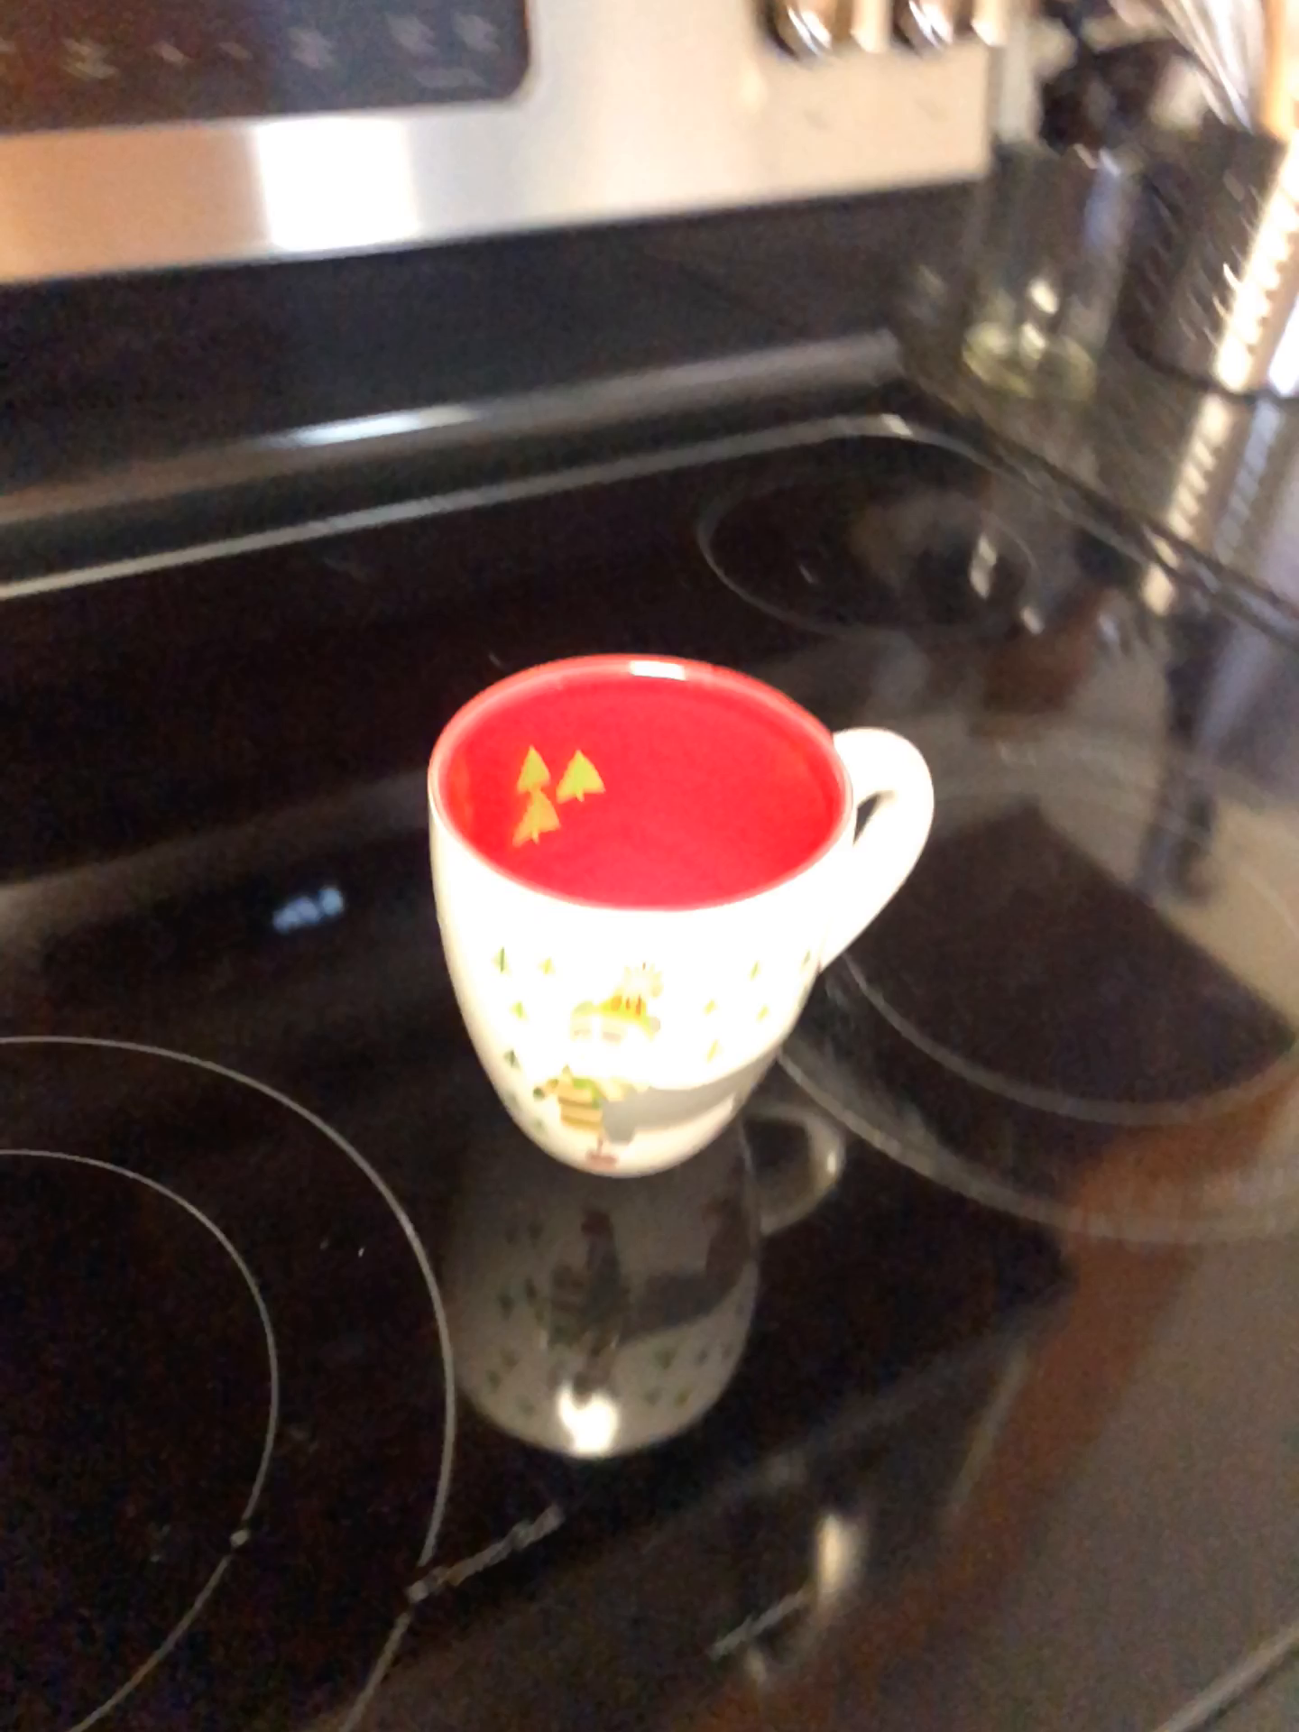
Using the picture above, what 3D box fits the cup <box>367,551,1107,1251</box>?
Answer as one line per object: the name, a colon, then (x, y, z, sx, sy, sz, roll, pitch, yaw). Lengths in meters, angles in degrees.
cup: (0.017, 0.001, 0.367, 0.140, 0.100, 0.100, -20, 46, -28)
